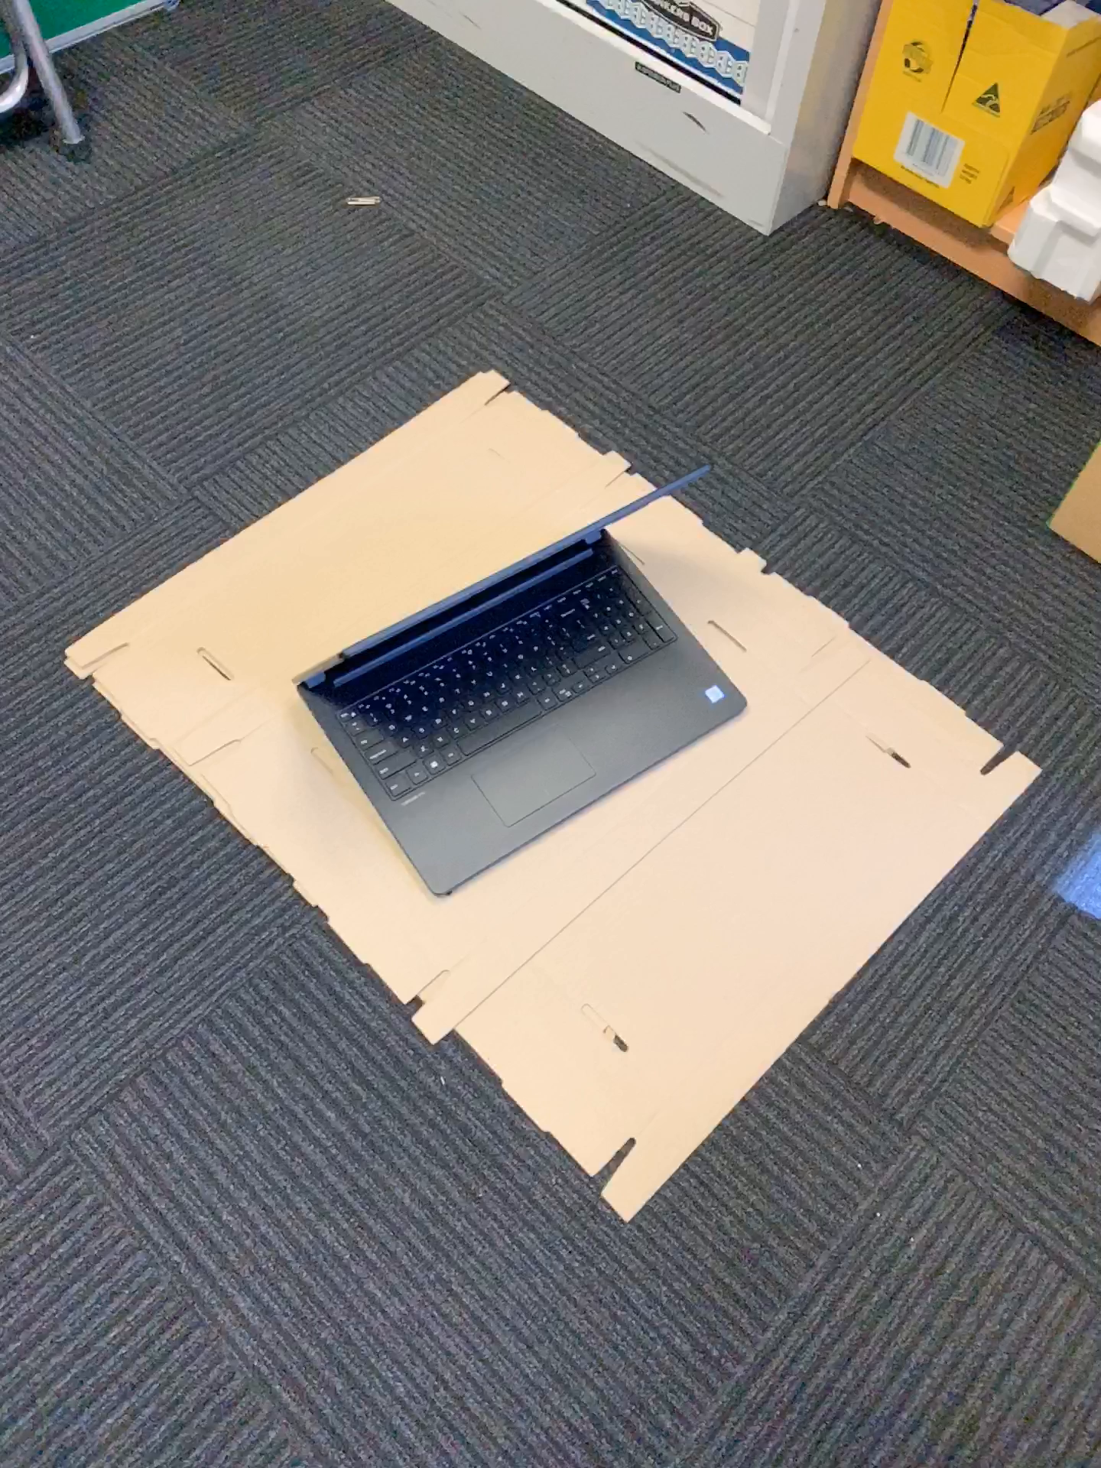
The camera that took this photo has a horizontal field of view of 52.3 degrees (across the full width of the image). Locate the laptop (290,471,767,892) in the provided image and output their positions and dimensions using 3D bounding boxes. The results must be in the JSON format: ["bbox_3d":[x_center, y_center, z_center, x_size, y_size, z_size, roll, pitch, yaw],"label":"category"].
[{"bbox_3d":[-0.017,-0.057,0.980,0.341,0.085,0.221,-30,69,-19],"label":"laptop"}]
